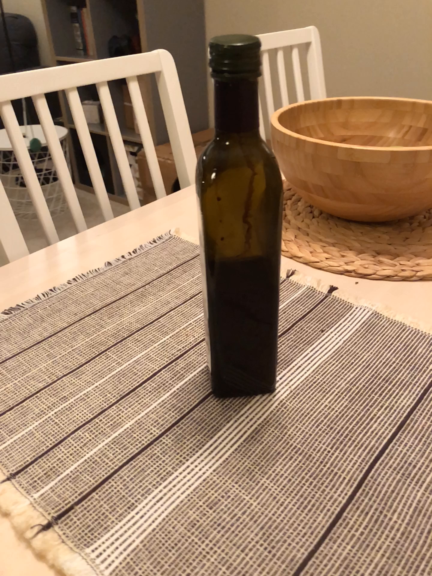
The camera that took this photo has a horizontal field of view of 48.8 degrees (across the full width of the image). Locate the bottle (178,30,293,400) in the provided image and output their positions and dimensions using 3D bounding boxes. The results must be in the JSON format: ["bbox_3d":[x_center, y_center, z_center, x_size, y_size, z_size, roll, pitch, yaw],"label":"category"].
[{"bbox_3d":[0.012,-0.038,0.348,0.060,0.261,0.060,-1,32,1],"label":"bottle"}]
